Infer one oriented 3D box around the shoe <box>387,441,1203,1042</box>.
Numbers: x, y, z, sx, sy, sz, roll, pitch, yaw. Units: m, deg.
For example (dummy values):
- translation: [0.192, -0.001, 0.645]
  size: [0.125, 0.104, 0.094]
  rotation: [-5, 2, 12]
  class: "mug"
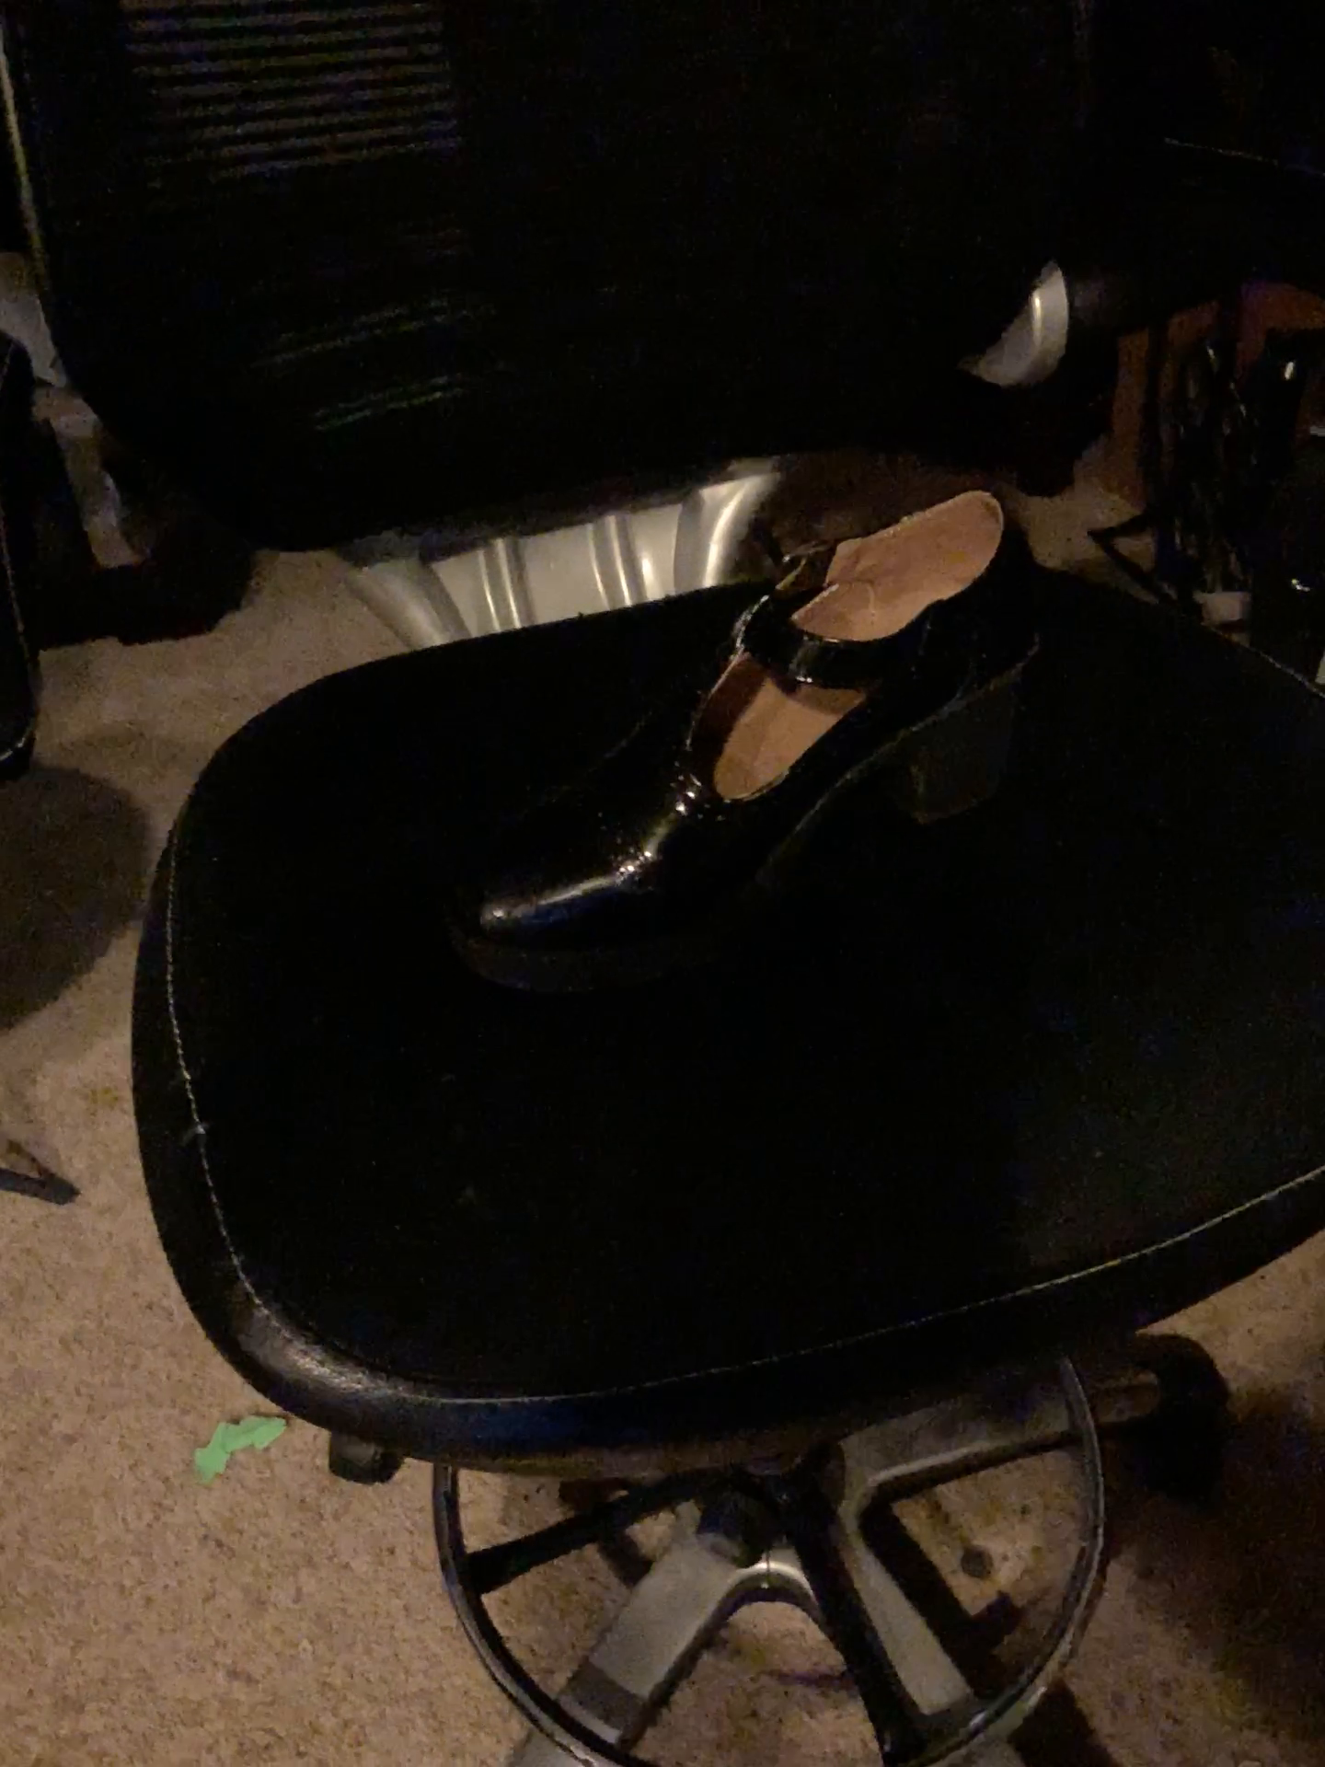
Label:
- translation: [0.053, -0.064, 0.542]
  size: [0.270, 0.100, 0.110]
  rotation: [-24, 41, -21]
  class: "shoe"
